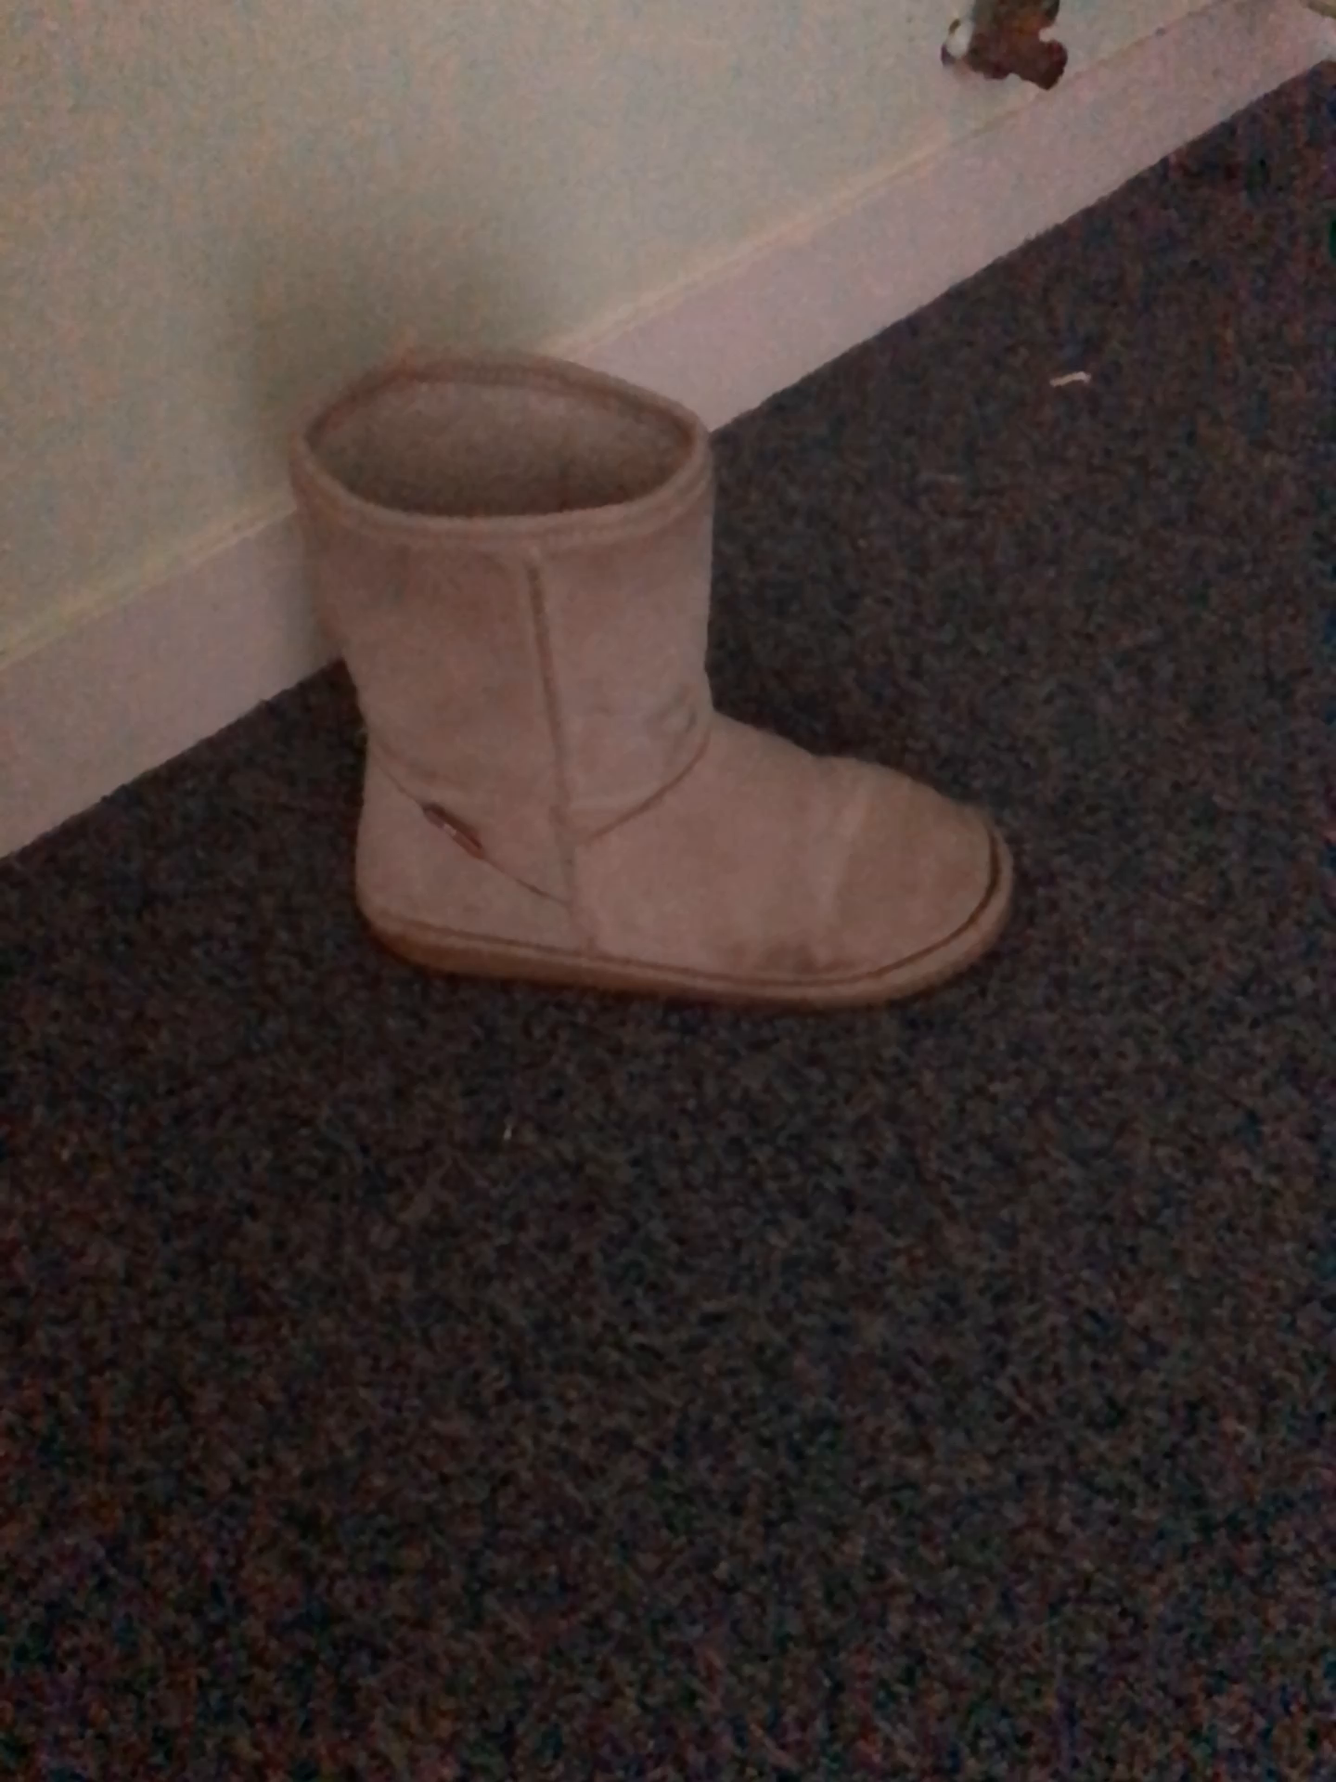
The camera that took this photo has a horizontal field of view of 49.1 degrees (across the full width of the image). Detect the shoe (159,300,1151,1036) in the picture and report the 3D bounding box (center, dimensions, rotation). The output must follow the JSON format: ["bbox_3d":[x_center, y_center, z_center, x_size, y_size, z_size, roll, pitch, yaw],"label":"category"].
[{"bbox_3d":[0.002,-0.071,0.513,0.270,0.209,0.121,5,50,5],"label":"shoe"}]
